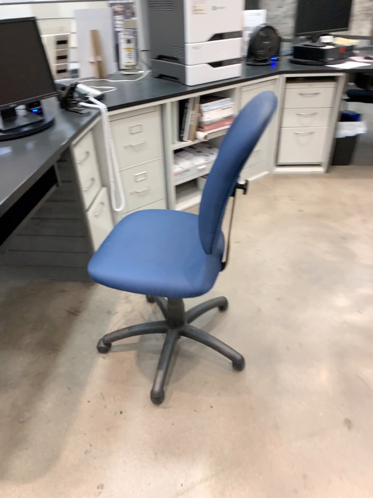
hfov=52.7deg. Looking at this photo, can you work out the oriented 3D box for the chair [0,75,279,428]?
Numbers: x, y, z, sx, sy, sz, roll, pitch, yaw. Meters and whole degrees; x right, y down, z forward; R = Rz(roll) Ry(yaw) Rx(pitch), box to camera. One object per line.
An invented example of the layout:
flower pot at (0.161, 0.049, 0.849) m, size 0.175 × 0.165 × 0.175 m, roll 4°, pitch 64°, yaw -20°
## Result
chair at (-0.077, -0.014, 1.386) m, size 0.693 × 1.035 × 0.662 m, roll 6°, pitch 34°, yaw 12°
